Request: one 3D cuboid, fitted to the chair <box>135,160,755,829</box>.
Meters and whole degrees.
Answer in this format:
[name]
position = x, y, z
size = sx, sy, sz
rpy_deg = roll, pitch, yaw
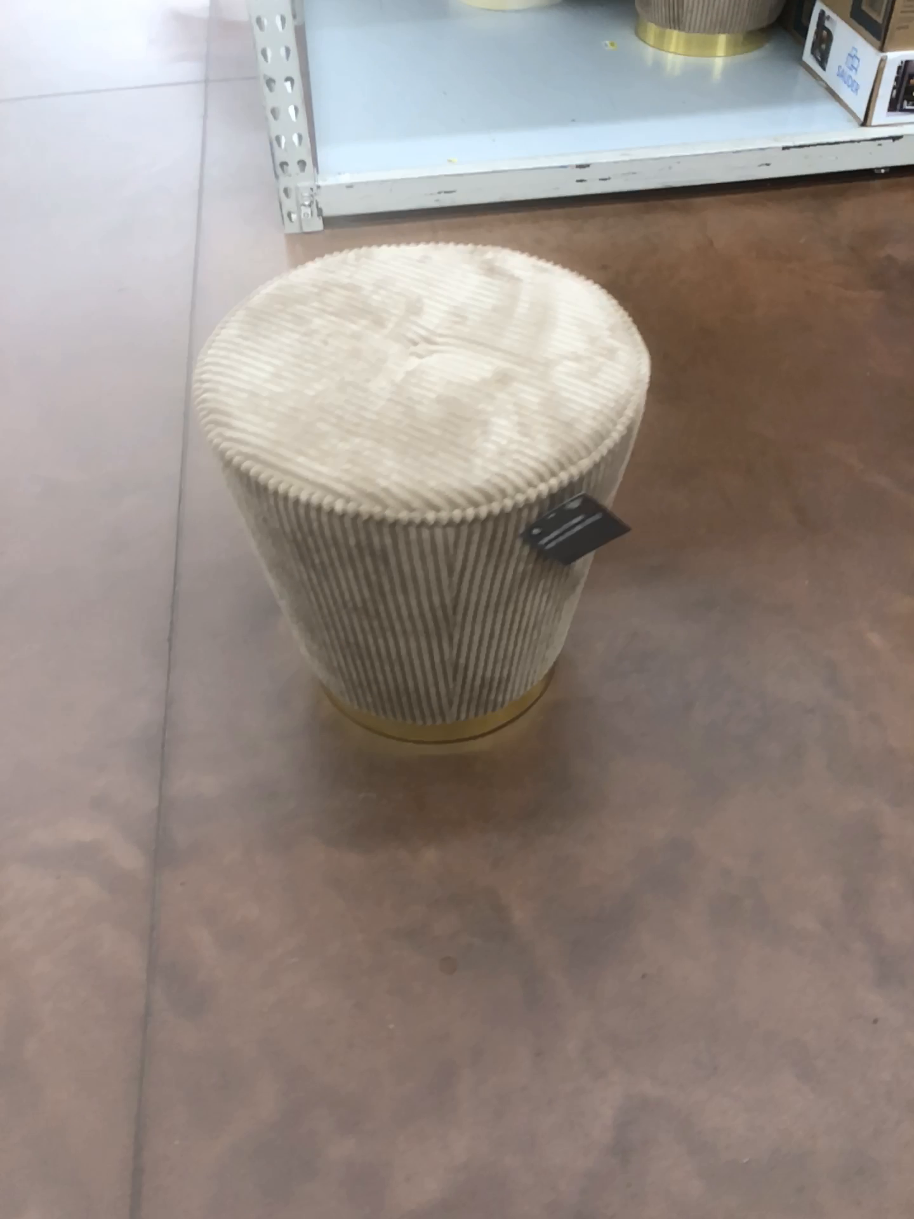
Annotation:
[chair]
position = -0.028, -0.130, 1.112
size = 0.450, 0.479, 0.421
rpy_deg = -19, 50, -14
